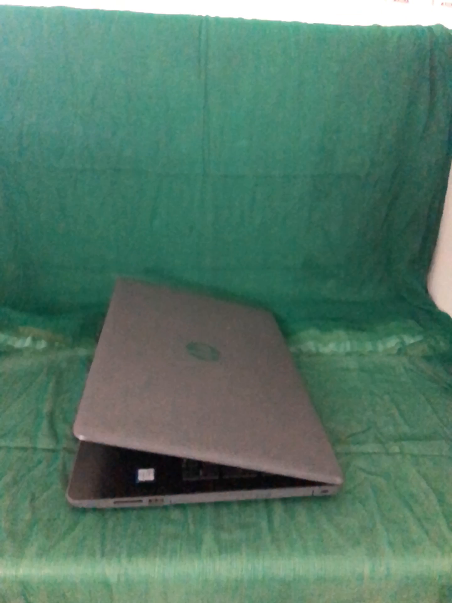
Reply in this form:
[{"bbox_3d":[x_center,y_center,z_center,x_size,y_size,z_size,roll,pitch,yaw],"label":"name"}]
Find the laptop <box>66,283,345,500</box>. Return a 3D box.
[{"bbox_3d":[-0.031,0.070,0.592,0.231,0.067,0.361,0,22,-5],"label":"laptop"}]
